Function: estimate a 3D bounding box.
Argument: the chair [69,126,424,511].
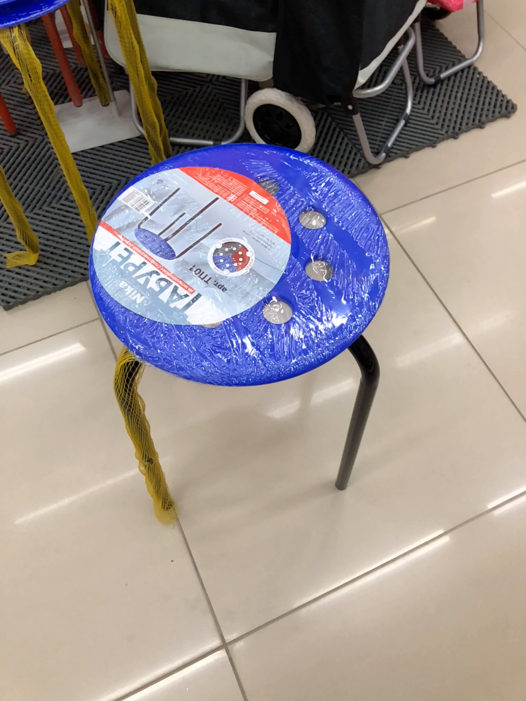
[{"bbox_3d":[-0.028,-0.009,0.784,0.320,0.427,0.325,-5,62,-3],"label":"chair"}]
